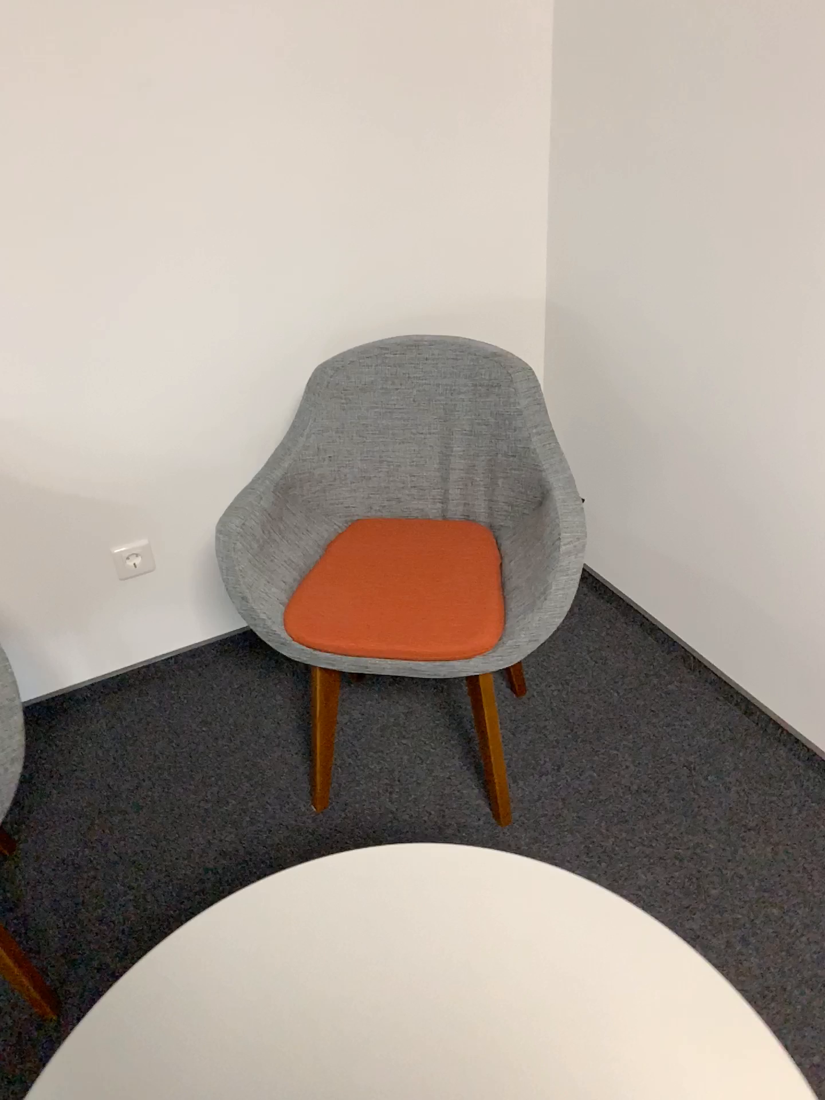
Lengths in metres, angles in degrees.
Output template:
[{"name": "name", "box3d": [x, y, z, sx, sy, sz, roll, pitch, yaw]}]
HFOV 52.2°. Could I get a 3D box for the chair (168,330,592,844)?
[{"name": "chair", "box3d": [0.005, 0.061, 1.653, 0.630, 0.835, 0.503, 3, 33, 10]}]
